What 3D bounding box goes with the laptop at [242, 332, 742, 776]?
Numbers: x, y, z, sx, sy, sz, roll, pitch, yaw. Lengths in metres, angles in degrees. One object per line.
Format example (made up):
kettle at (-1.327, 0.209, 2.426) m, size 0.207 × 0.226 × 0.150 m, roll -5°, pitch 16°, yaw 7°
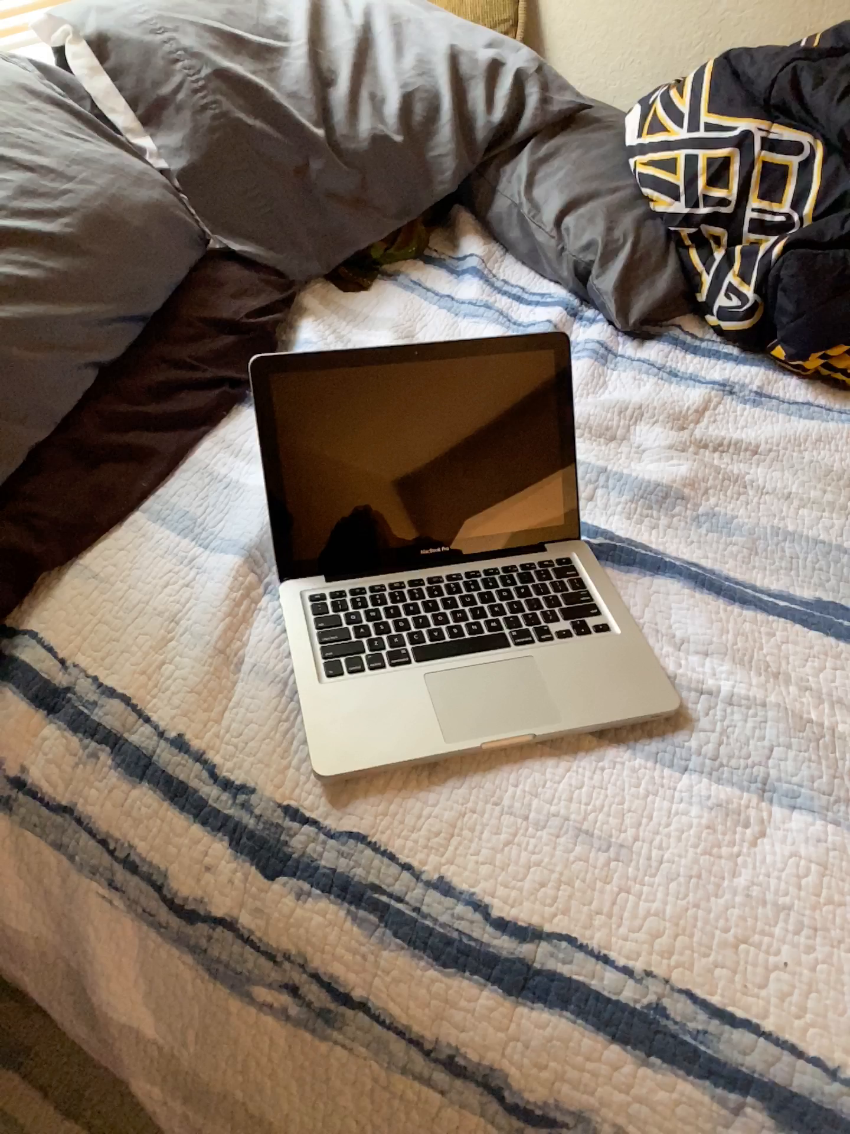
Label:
laptop at (0.028, -0.036, 0.774) m, size 0.320 × 0.165 × 0.347 m, roll -8°, pitch 46°, yaw -14°
